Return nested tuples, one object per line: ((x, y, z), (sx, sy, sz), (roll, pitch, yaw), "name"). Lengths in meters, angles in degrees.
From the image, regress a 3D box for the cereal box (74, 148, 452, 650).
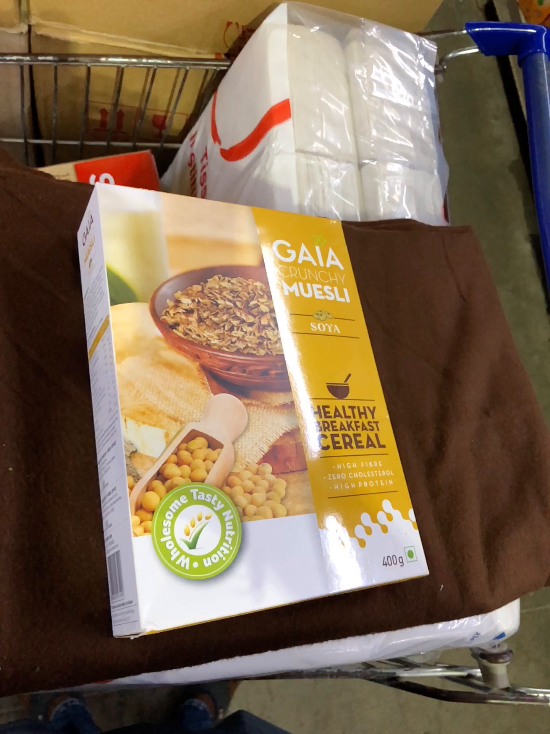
((-0.012, 0.010, 0.346), (0.170, 0.060, 0.240), (1, 69, -30), "cereal box")
